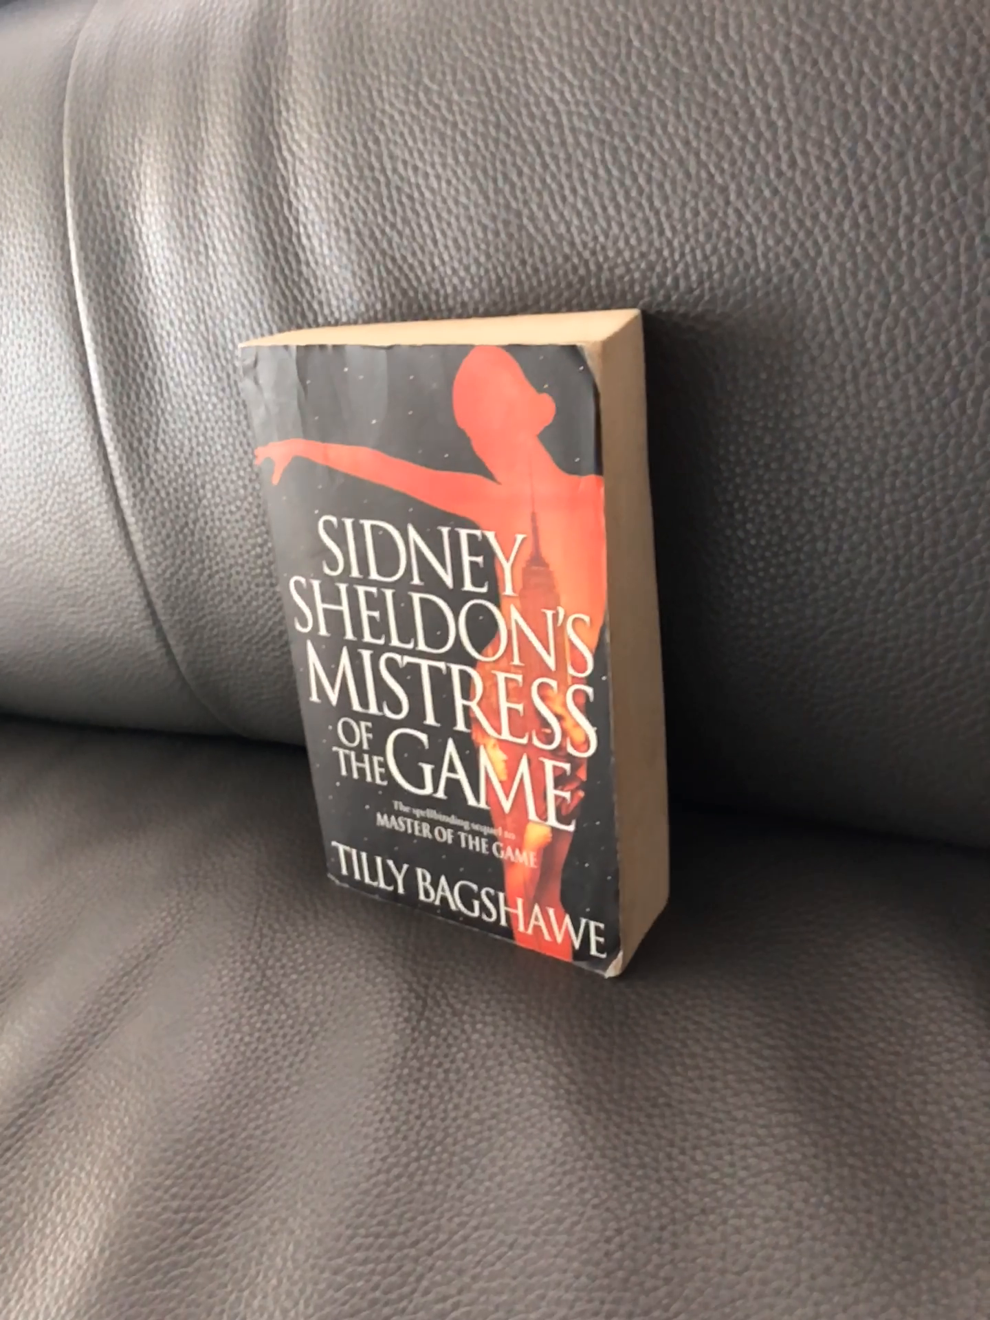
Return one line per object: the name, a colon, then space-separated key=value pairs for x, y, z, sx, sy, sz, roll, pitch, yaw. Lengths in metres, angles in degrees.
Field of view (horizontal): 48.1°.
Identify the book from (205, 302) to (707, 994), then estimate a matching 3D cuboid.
book: x=-0.007 y=-0.005 z=0.323 sx=0.119 sy=0.179 sz=0.046 roll=9 pitch=29 yaw=33
